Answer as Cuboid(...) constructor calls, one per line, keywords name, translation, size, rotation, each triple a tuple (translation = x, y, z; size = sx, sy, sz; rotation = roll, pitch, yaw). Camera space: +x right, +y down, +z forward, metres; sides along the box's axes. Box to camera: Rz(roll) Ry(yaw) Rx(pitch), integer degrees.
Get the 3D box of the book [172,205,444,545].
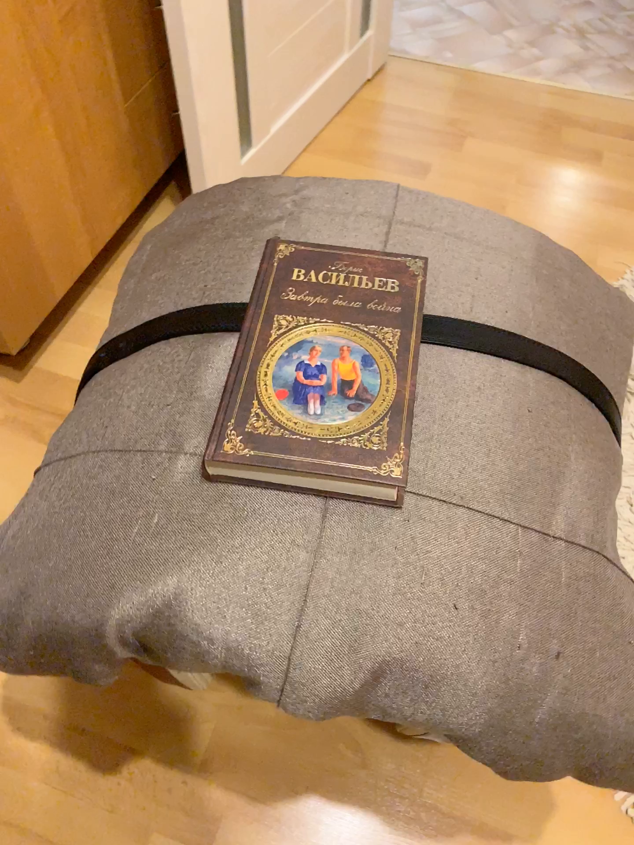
Cuboid(name="book", translation=(0.004, -0.042, 0.437), size=(0.140, 0.050, 0.221), rotation=(8, 60, 4))
